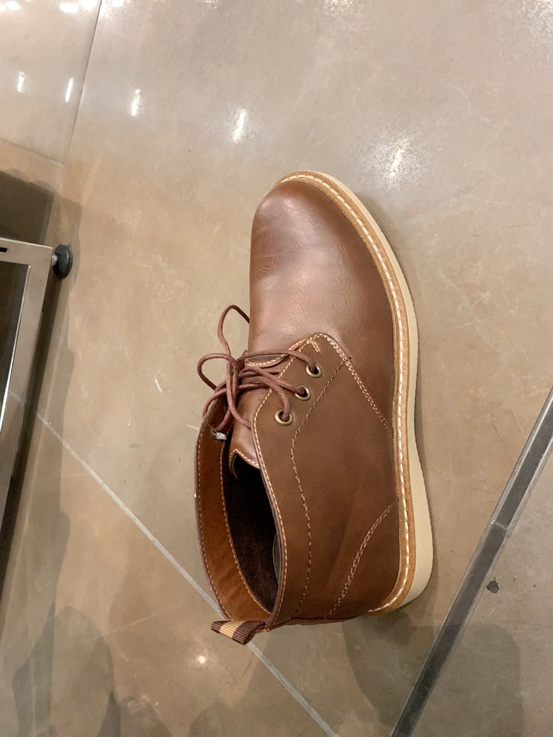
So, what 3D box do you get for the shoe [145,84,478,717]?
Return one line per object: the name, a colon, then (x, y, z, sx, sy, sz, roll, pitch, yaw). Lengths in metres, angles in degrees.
shoe: (0.017, 0.014, 0.340, 0.107, 0.120, 0.295, -16, 78, 41)
